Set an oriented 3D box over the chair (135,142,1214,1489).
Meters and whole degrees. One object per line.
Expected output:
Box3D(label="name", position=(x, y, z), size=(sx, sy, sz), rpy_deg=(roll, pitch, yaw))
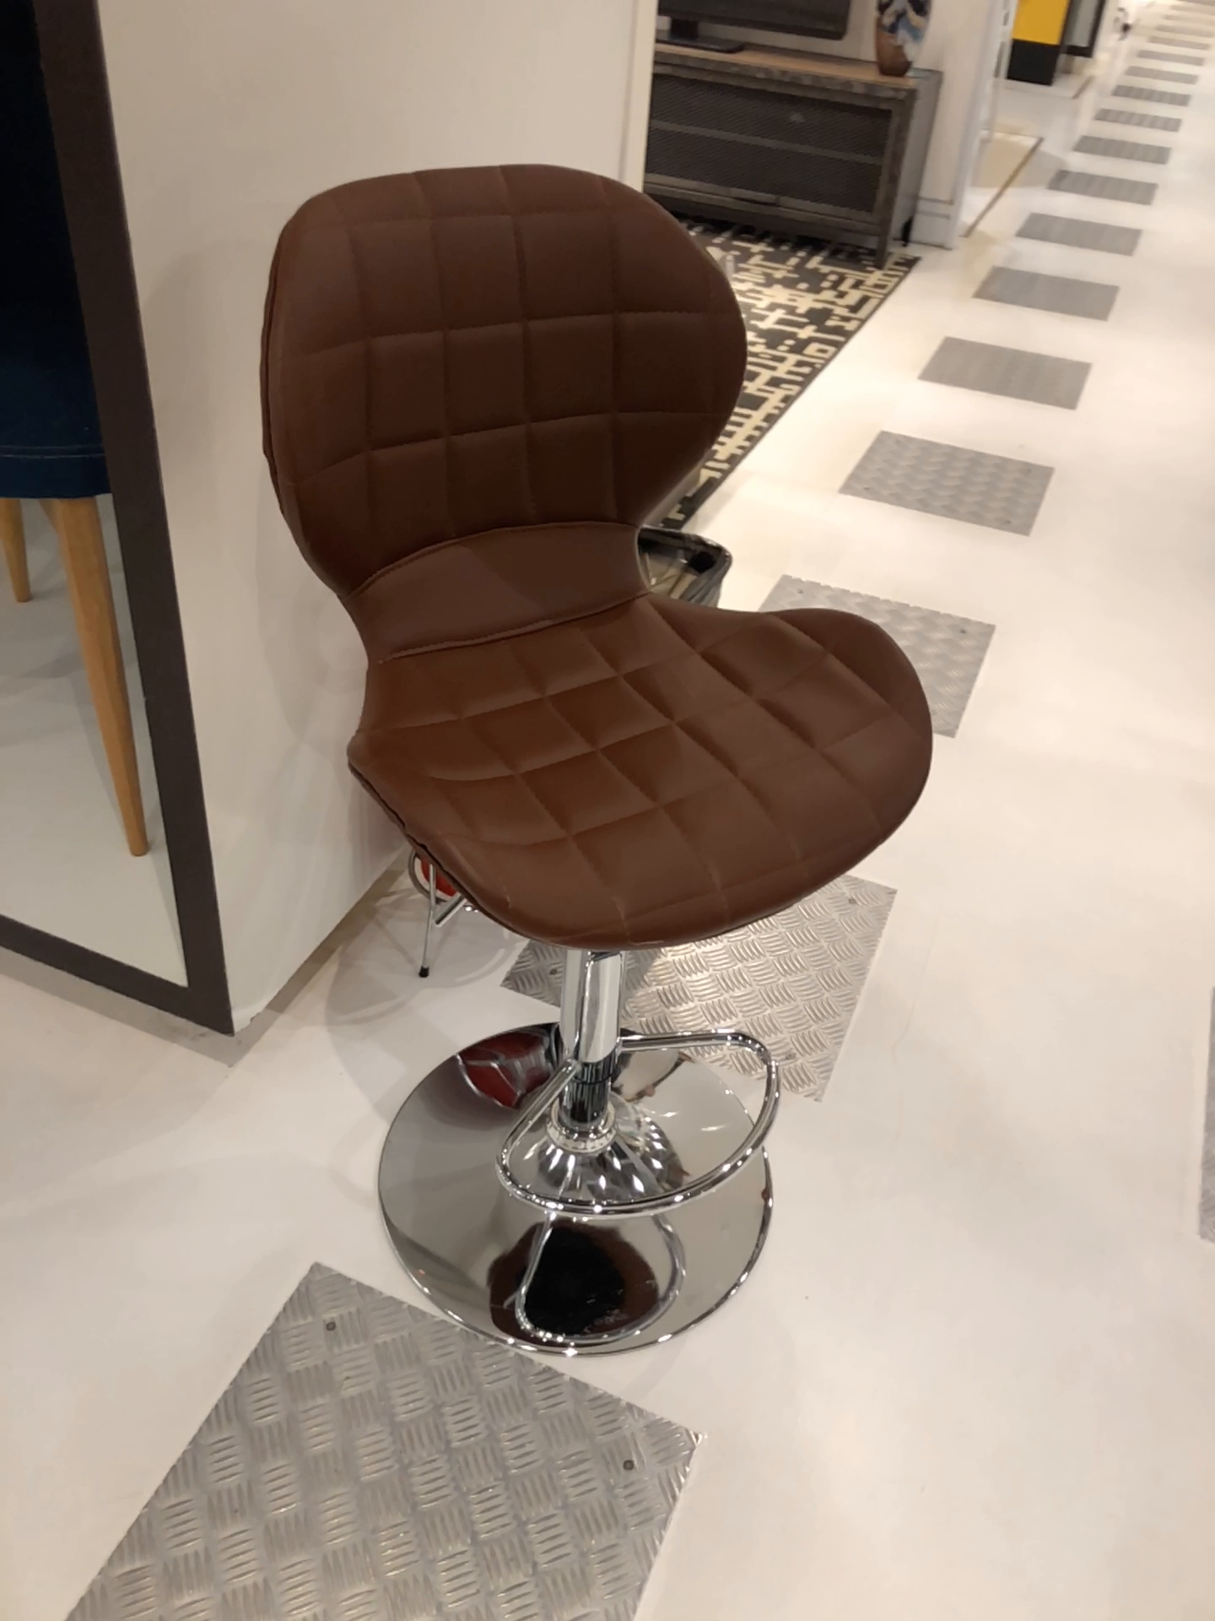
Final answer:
Box3D(label="chair", position=(-0.001, 0.003, 1.129), size=(0.541, 0.923, 0.493), rpy_deg=(-15, 42, -24))
